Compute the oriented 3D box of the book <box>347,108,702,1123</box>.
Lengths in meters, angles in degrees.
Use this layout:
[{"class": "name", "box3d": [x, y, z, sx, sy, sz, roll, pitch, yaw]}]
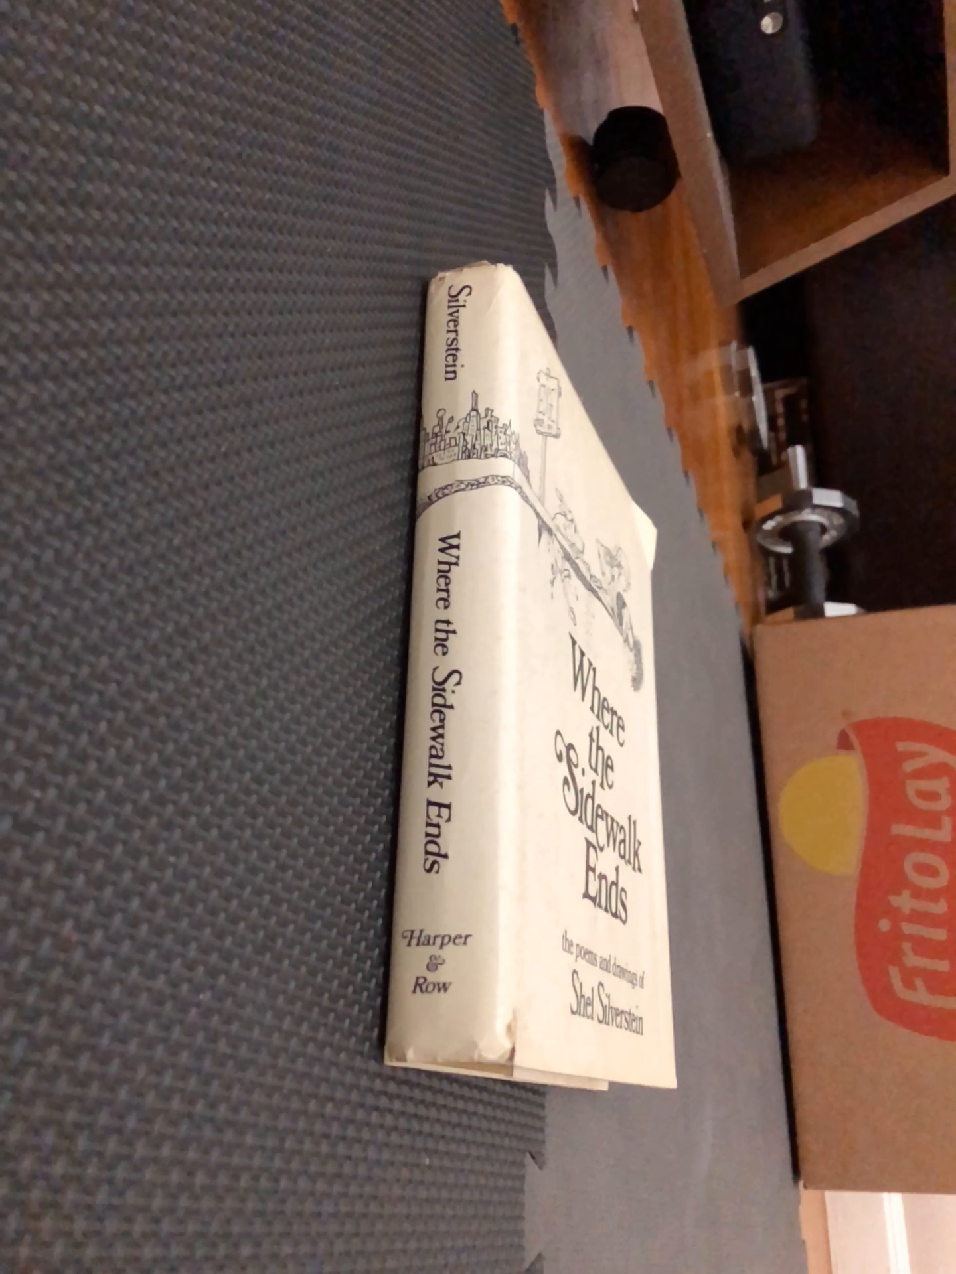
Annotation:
[{"class": "book", "box3d": [0.028, 0.006, 0.353, 0.201, 0.030, 0.280, 46, 40, -56]}]
